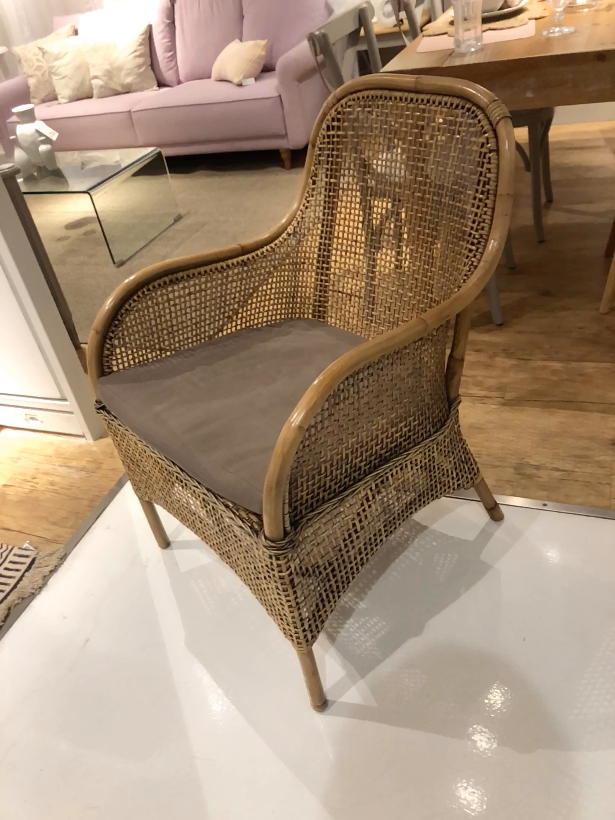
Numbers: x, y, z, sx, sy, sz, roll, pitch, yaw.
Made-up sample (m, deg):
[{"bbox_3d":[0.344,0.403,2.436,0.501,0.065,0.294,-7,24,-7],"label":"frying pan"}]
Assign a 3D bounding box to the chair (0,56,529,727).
[{"bbox_3d":[-0.020,-0.067,1.230,0.622,0.903,0.542,-35,41,-29],"label":"chair"}]
